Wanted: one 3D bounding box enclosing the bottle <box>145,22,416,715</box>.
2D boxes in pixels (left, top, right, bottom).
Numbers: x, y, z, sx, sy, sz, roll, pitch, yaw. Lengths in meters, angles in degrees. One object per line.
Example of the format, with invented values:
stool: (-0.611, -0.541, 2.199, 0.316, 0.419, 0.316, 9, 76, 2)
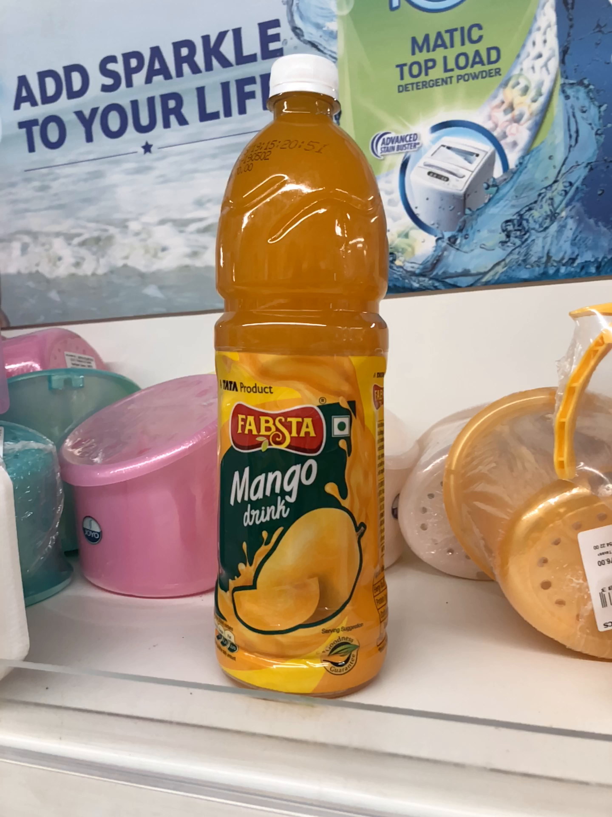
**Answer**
bottle: (-0.004, -0.013, 0.305, 0.090, 0.260, 0.080, -2, 4, 15)
